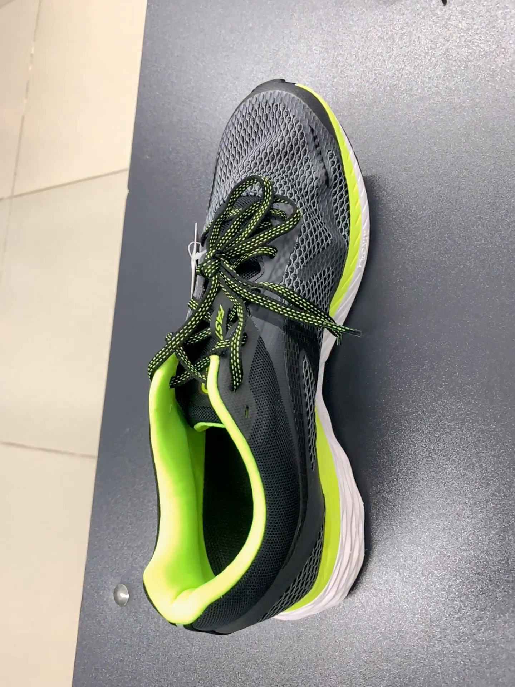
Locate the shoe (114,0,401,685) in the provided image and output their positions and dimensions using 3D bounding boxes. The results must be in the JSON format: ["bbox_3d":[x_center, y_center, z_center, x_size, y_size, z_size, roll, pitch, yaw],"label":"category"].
[{"bbox_3d":[0.011,-0.011,0.303,0.110,0.110,0.310,-3,80,31],"label":"shoe"}]
